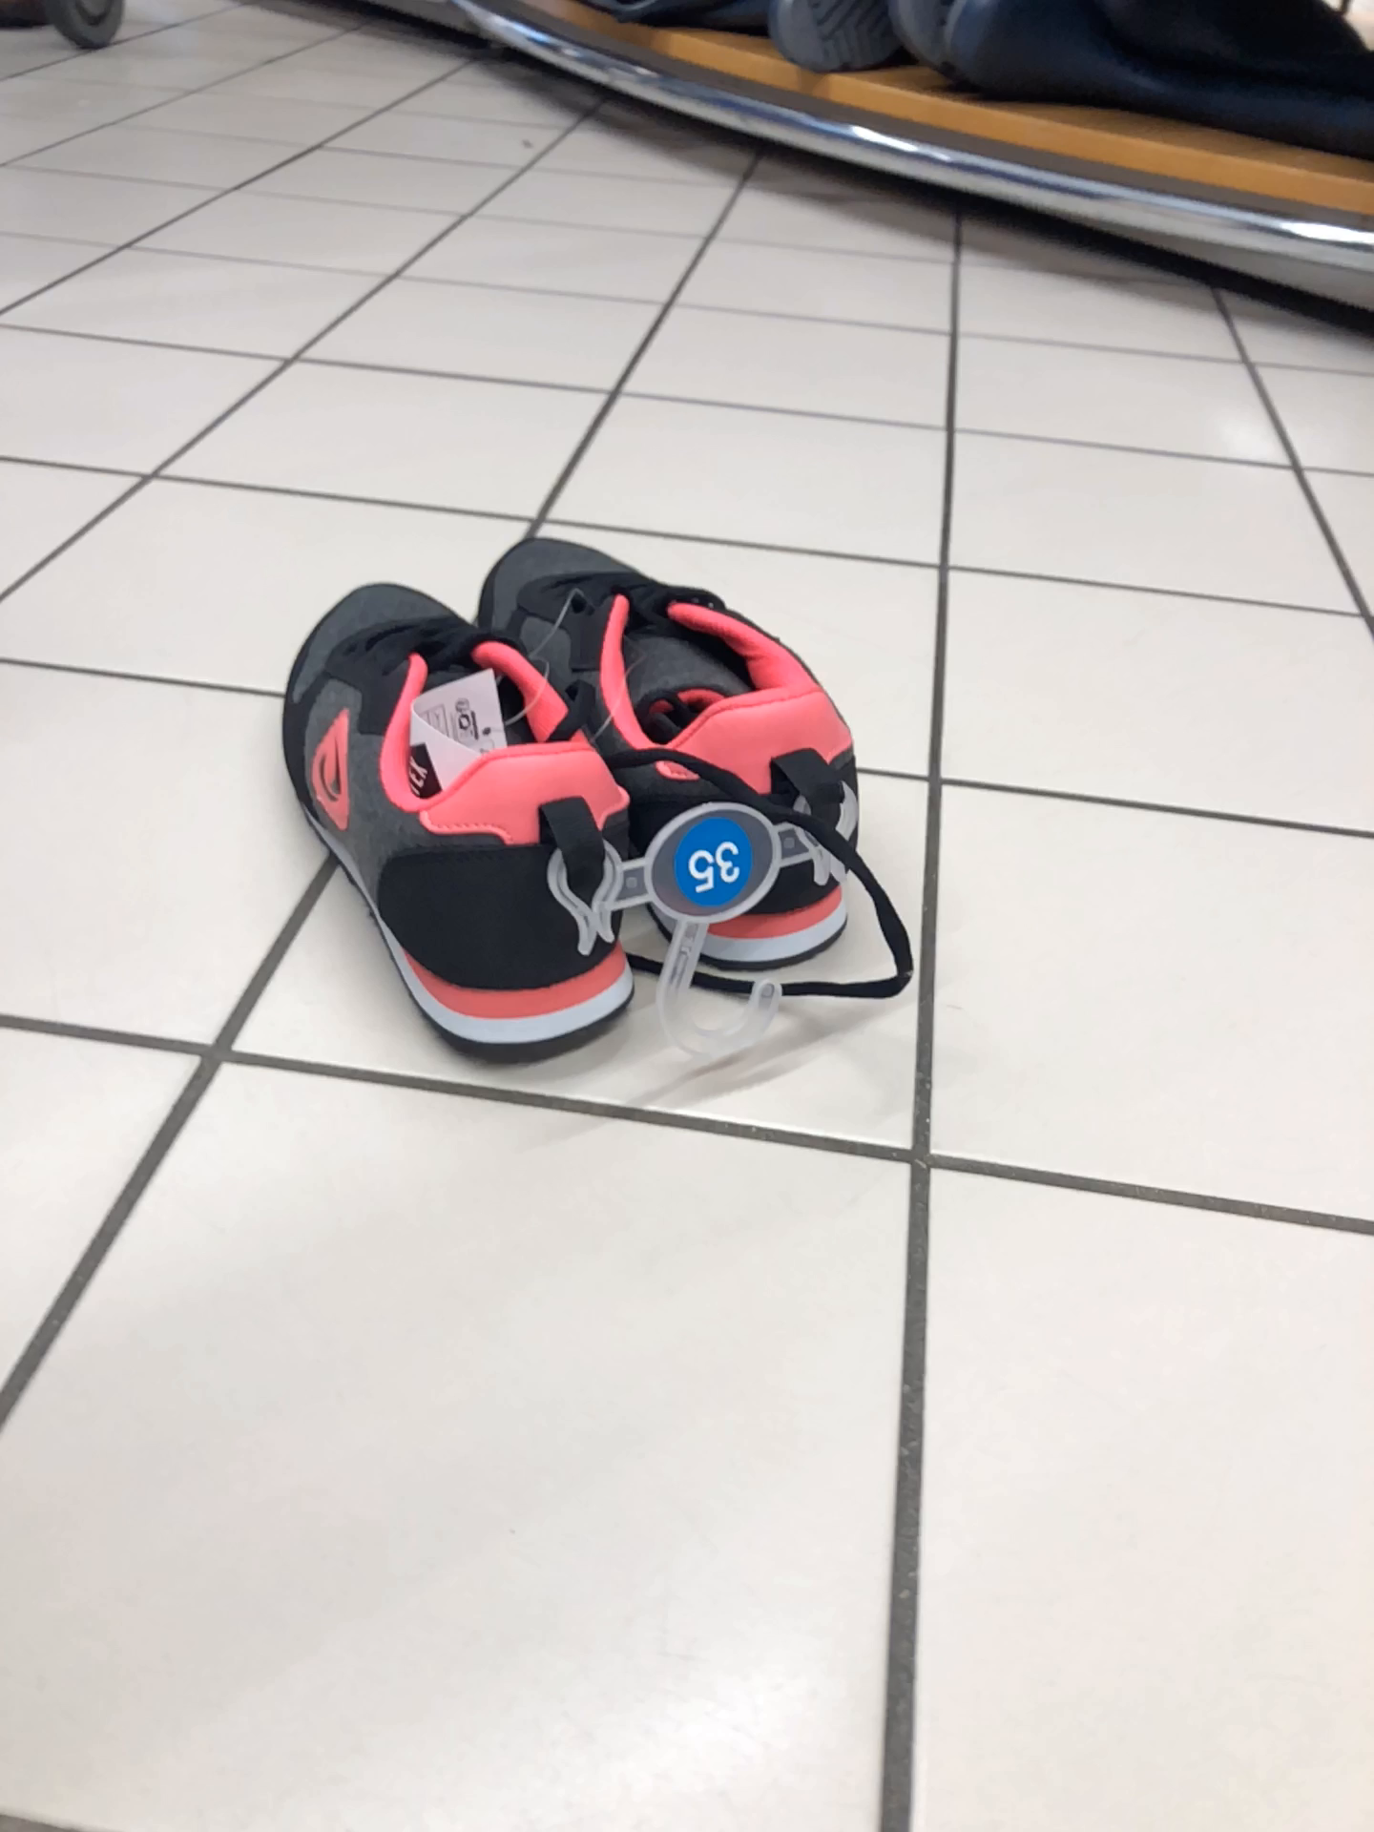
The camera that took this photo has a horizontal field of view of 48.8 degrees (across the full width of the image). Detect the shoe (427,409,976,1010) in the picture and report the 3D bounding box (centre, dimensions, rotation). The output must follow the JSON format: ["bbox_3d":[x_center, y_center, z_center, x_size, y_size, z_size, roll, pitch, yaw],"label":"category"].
[{"bbox_3d":[-0.009,-0.083,0.516,0.090,0.099,0.221,-13,40,-22],"label":"shoe"}]

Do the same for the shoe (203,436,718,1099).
[{"bbox_3d":[-0.081,-0.062,0.479,0.090,0.099,0.221,-12,40,-21],"label":"shoe"}]
